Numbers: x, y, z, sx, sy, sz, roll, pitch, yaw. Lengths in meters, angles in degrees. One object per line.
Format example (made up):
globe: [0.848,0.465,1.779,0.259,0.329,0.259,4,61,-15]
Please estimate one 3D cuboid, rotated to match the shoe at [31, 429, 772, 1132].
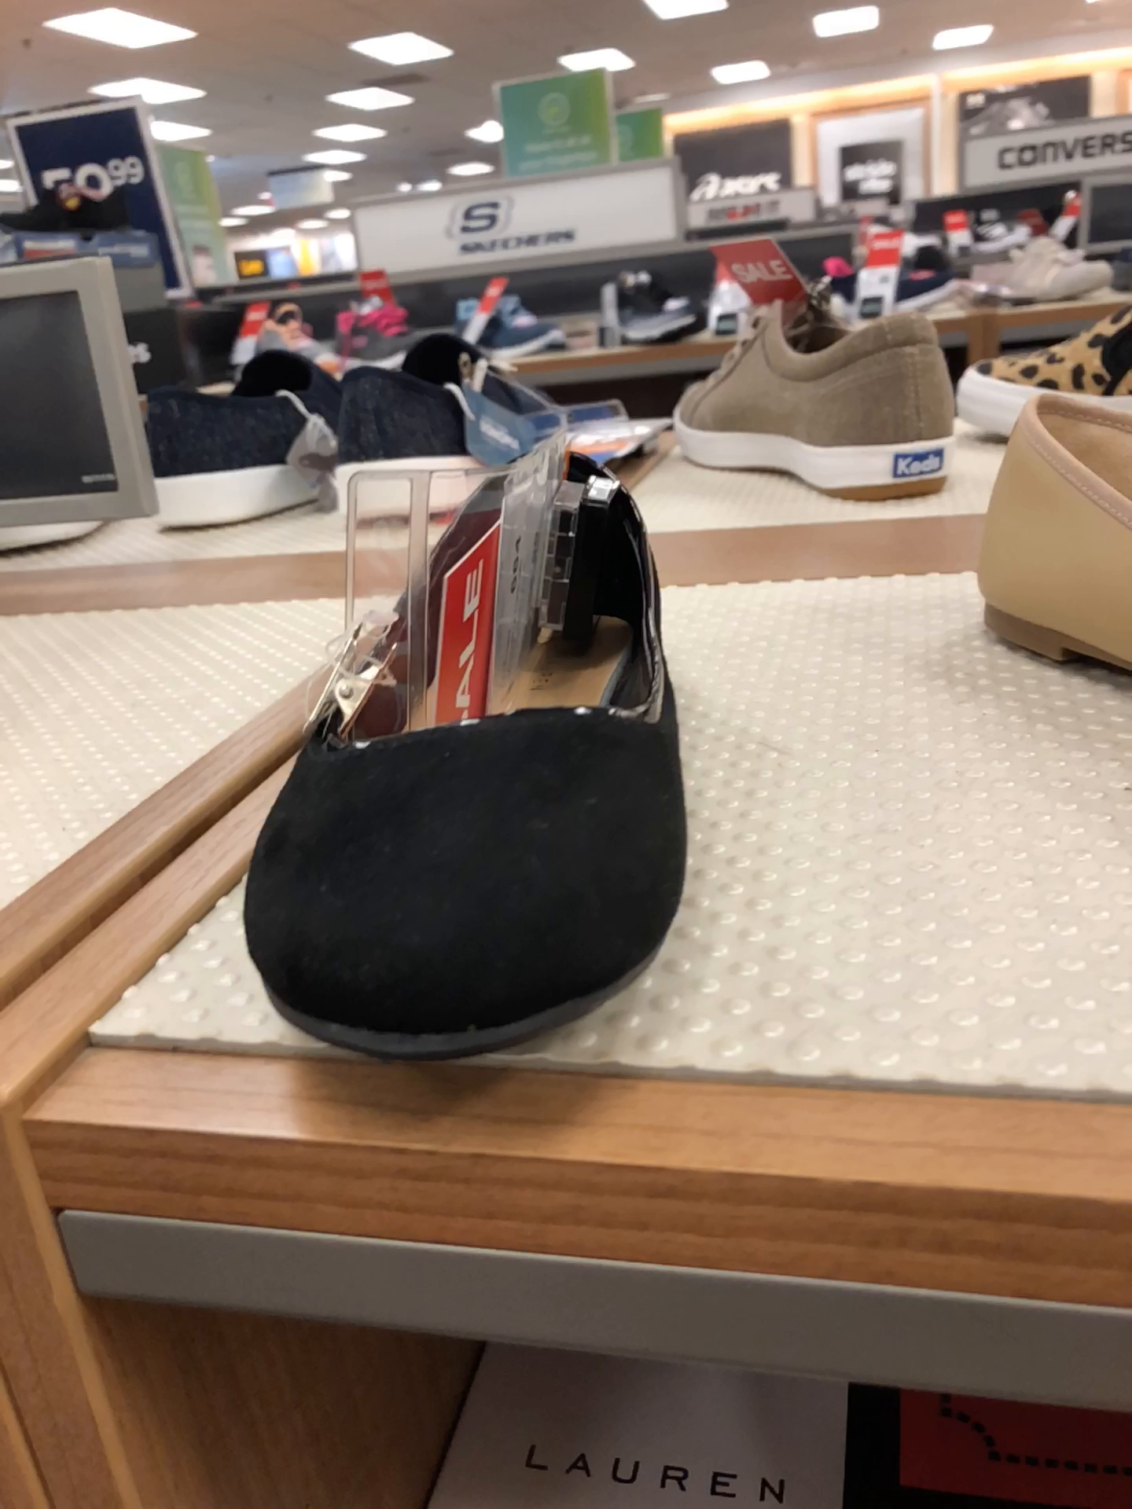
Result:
shoe: [-0.008,-0.020,0.277,0.091,0.064,0.239,-4,20,8]
